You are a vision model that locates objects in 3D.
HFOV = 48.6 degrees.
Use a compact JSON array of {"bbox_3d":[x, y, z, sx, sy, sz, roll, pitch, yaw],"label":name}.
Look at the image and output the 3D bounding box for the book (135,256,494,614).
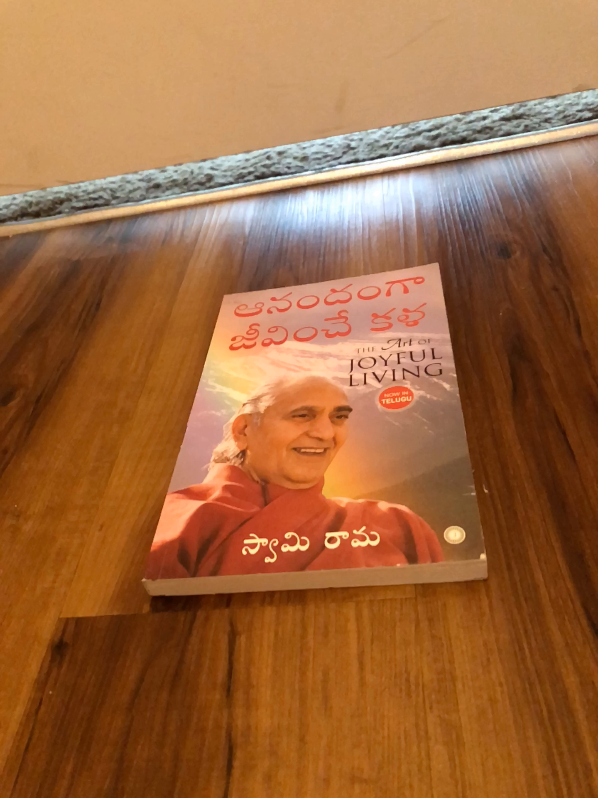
[{"bbox_3d":[0.012,0.003,0.348,0.144,0.020,0.220,-7,42,12],"label":"book"}]
